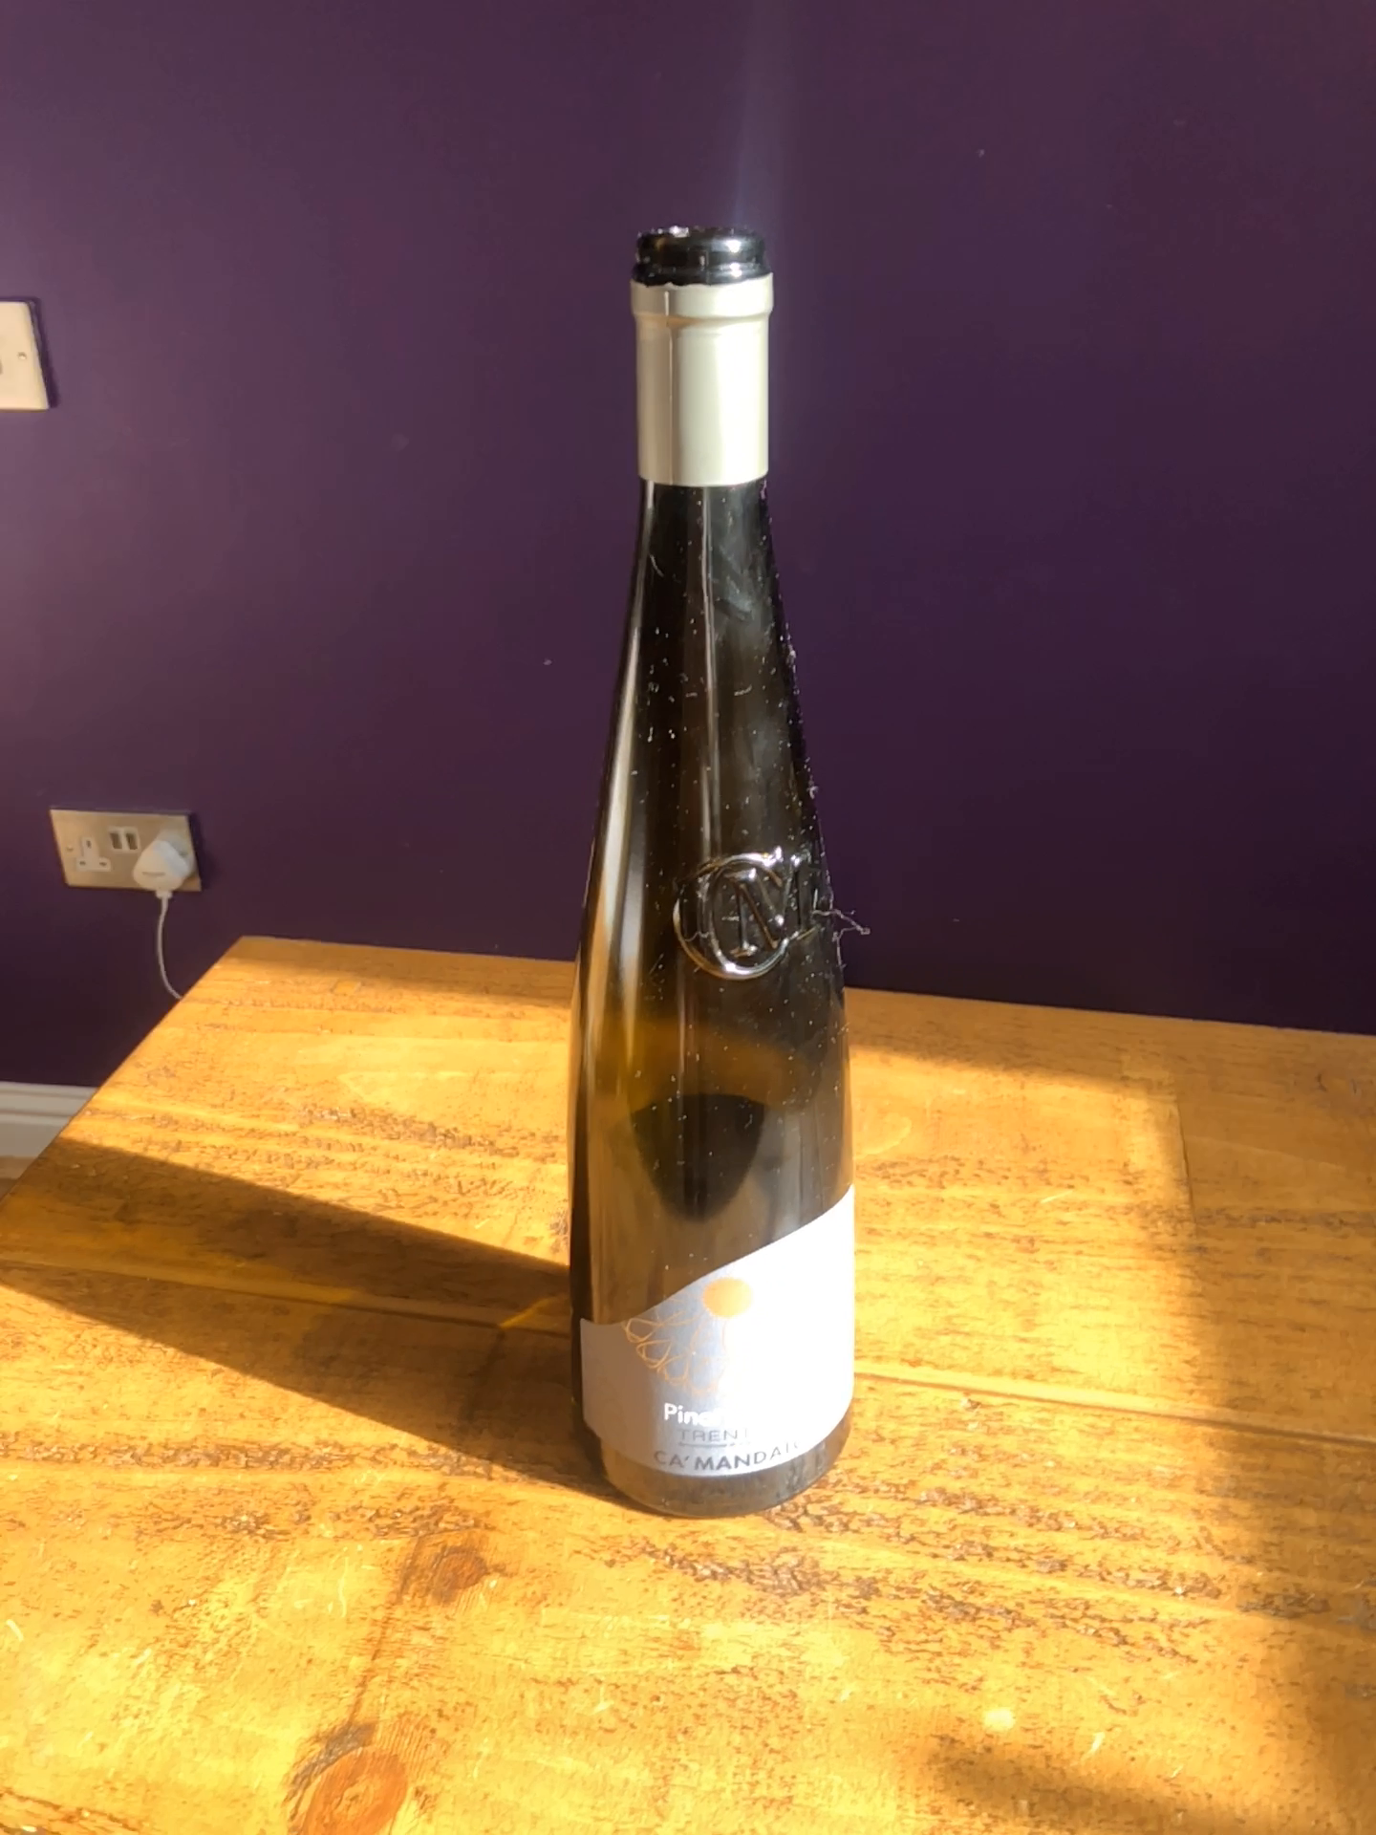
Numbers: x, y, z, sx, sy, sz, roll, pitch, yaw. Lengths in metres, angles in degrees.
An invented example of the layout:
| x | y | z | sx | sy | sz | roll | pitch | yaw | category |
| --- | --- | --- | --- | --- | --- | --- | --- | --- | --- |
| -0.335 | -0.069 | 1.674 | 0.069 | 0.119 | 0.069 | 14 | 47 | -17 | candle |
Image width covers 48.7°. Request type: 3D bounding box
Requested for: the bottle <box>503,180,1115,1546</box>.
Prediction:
| x | y | z | sx | sy | sz | roll | pitch | yaw | category |
| --- | --- | --- | --- | --- | --- | --- | --- | --- | --- |
| 0.023 | -0.004 | 0.401 | 0.100 | 0.337 | 0.101 | -1 | 28 | 0 | bottle |
